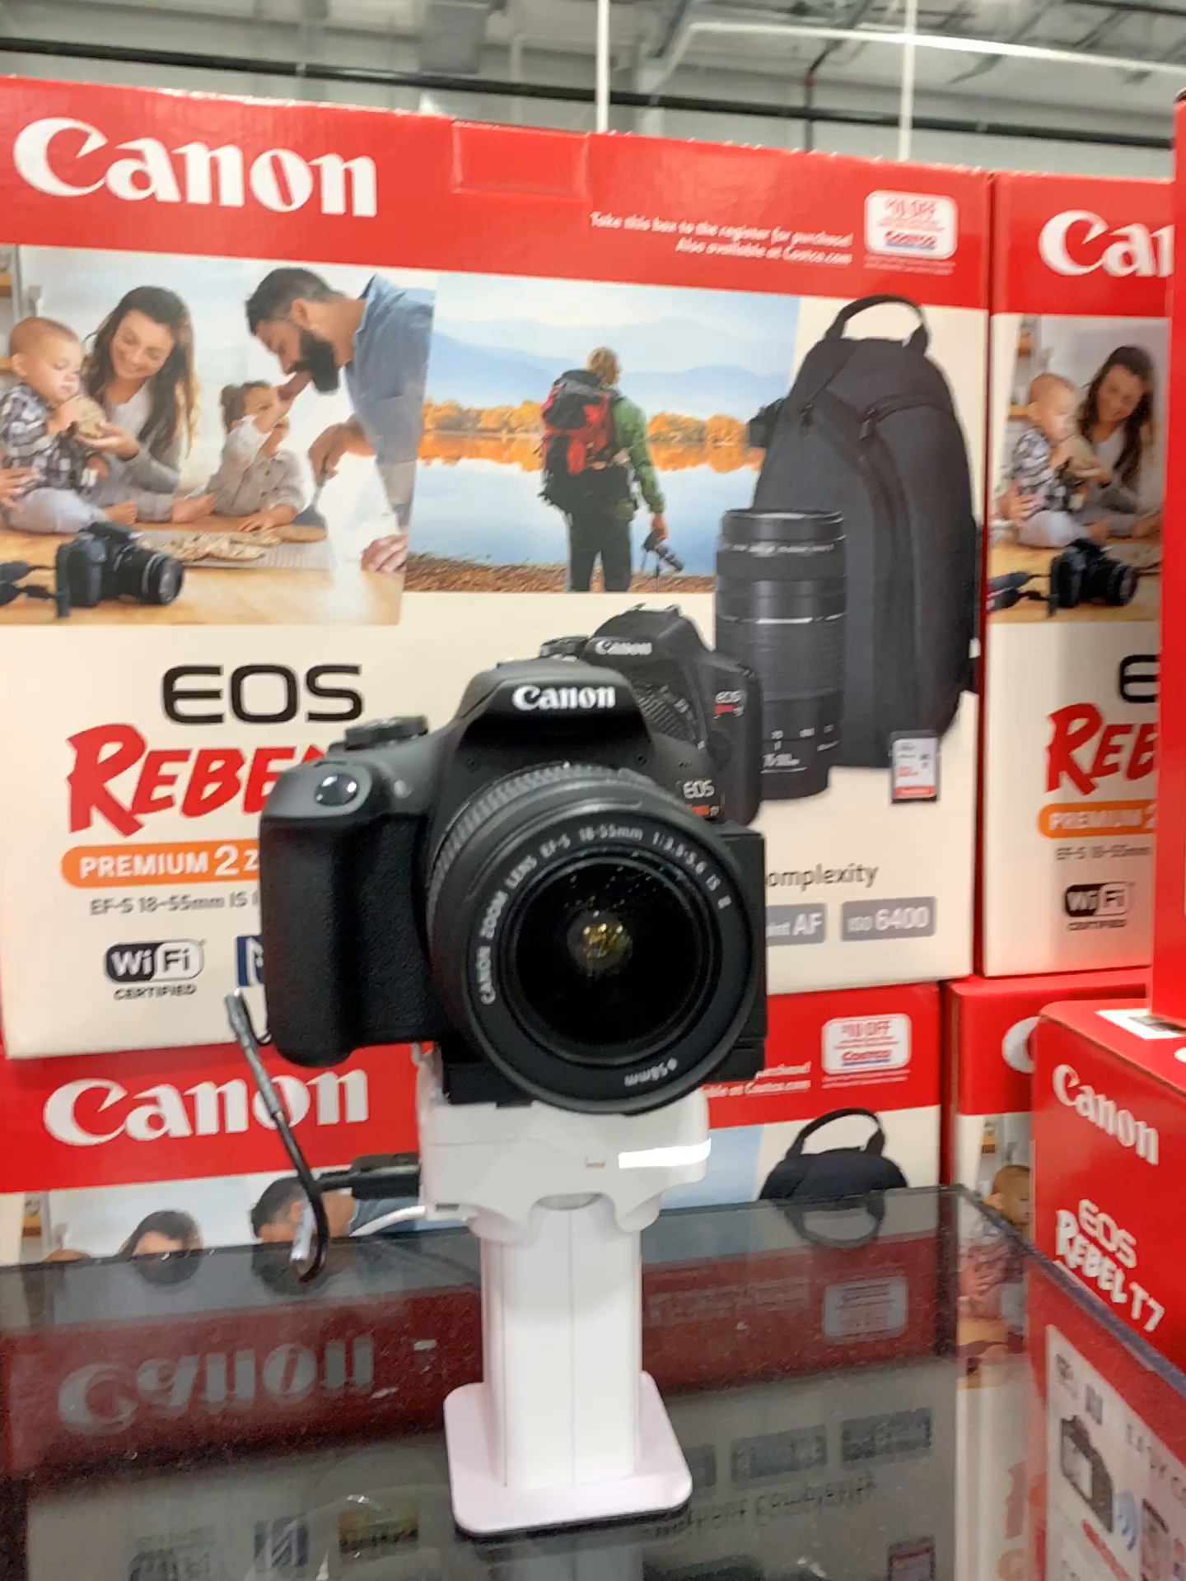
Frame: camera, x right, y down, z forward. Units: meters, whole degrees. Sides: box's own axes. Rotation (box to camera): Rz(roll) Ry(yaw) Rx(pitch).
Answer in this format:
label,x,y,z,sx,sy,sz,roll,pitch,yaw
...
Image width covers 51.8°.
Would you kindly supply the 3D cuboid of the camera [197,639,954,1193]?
label,x,y,z,sx,sy,sz,roll,pitch,yaw
camera,-0.012,0.014,0.307,0.140,0.100,0.160,-1,6,-9
